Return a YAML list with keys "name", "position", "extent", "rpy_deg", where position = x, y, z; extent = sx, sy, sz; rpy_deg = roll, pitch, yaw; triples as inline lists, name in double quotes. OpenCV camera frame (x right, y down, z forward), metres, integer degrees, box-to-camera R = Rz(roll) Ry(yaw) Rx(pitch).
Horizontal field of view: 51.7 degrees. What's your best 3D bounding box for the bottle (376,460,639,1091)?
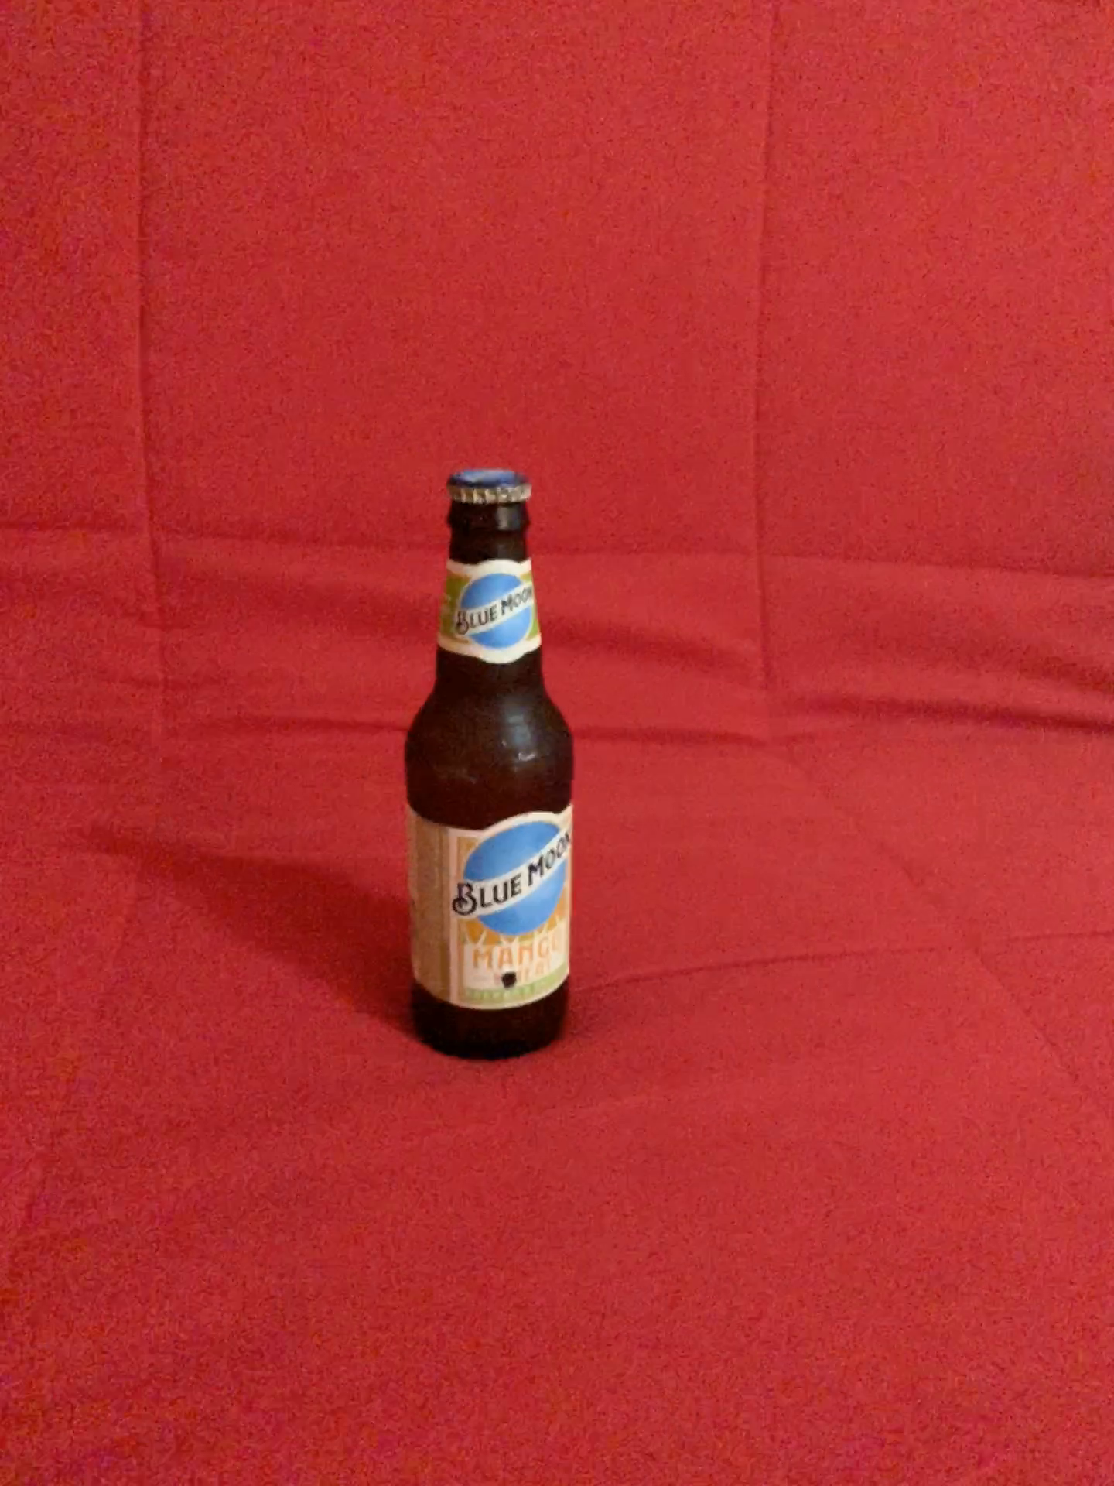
- name: "bottle"
  position: [-0.022, 0.014, 0.421]
  extent: [0.070, 0.216, 0.069]
  rpy_deg: [2, 25, -1]
